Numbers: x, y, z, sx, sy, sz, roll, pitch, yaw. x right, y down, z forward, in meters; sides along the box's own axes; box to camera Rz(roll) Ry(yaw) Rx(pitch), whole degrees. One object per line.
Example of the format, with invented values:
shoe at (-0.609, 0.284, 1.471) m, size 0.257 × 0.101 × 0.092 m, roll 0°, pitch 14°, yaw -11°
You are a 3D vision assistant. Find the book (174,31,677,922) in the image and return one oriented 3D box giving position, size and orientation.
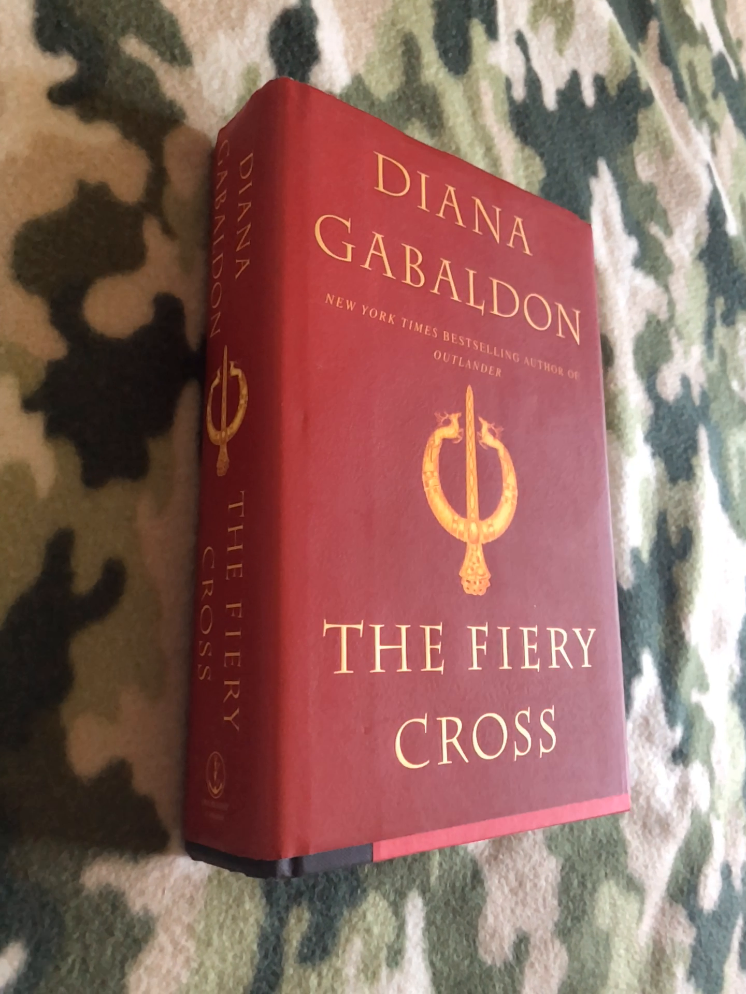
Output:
book at (0.024, -0.004, 0.307) m, size 0.171 × 0.070 × 0.250 m, roll 8°, pitch 75°, yaw -39°
